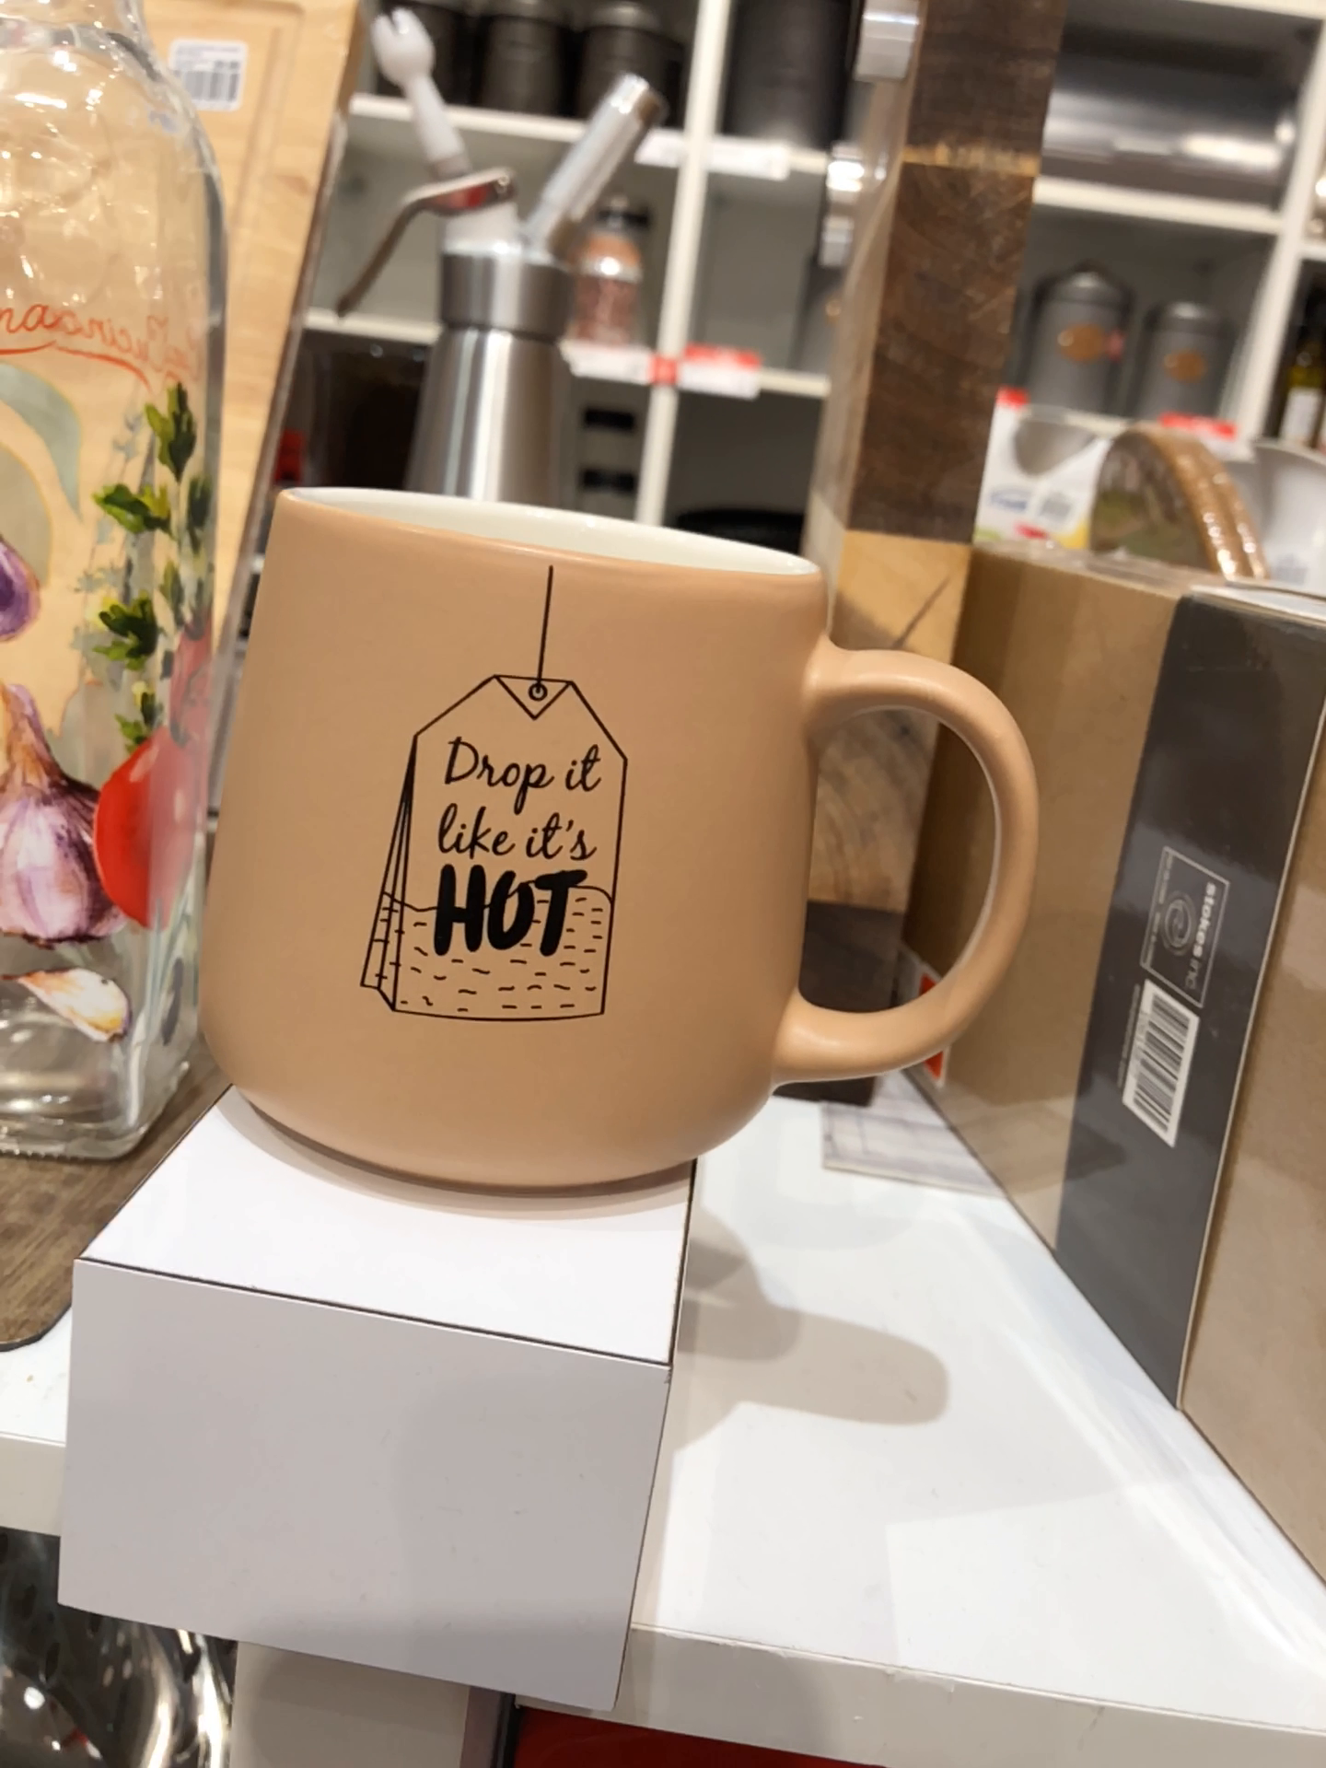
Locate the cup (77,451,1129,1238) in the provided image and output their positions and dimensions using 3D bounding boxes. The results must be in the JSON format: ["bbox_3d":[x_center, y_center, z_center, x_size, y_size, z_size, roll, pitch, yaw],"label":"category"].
[{"bbox_3d":[-0.014,-0.011,0.210,0.110,0.080,0.090,5,16,-12],"label":"cup"}]
